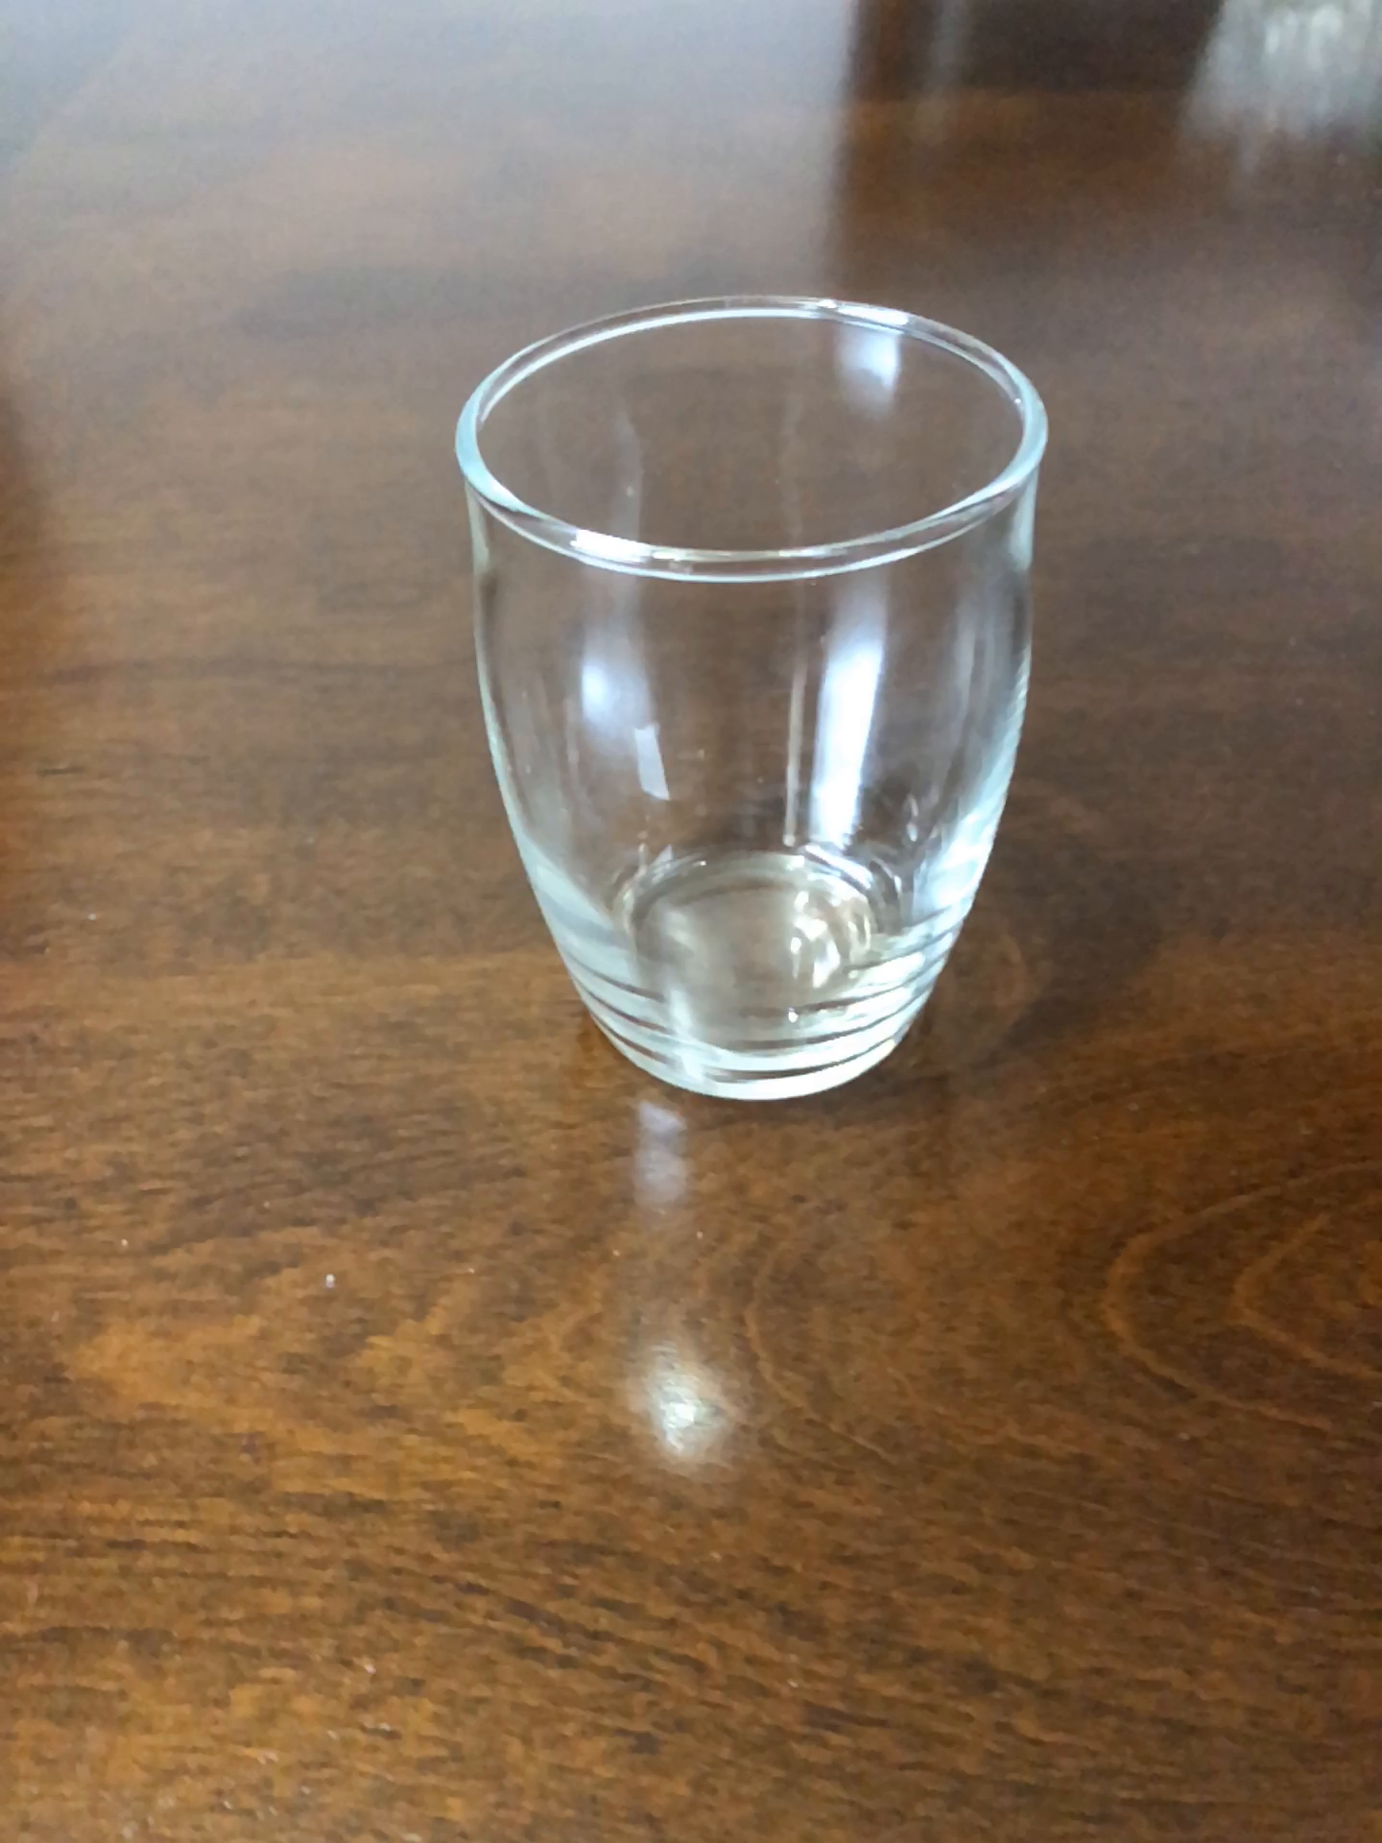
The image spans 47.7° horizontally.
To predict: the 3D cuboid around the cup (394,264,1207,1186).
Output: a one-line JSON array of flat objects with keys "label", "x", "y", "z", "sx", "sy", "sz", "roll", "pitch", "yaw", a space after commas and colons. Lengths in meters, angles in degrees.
[{"label": "cup", "x": 0.008, "y": -0.023, "z": 0.175, "sx": 0.060, "sy": 0.070, "sz": 0.060, "roll": -1, "pitch": 43, "yaw": 1}]
